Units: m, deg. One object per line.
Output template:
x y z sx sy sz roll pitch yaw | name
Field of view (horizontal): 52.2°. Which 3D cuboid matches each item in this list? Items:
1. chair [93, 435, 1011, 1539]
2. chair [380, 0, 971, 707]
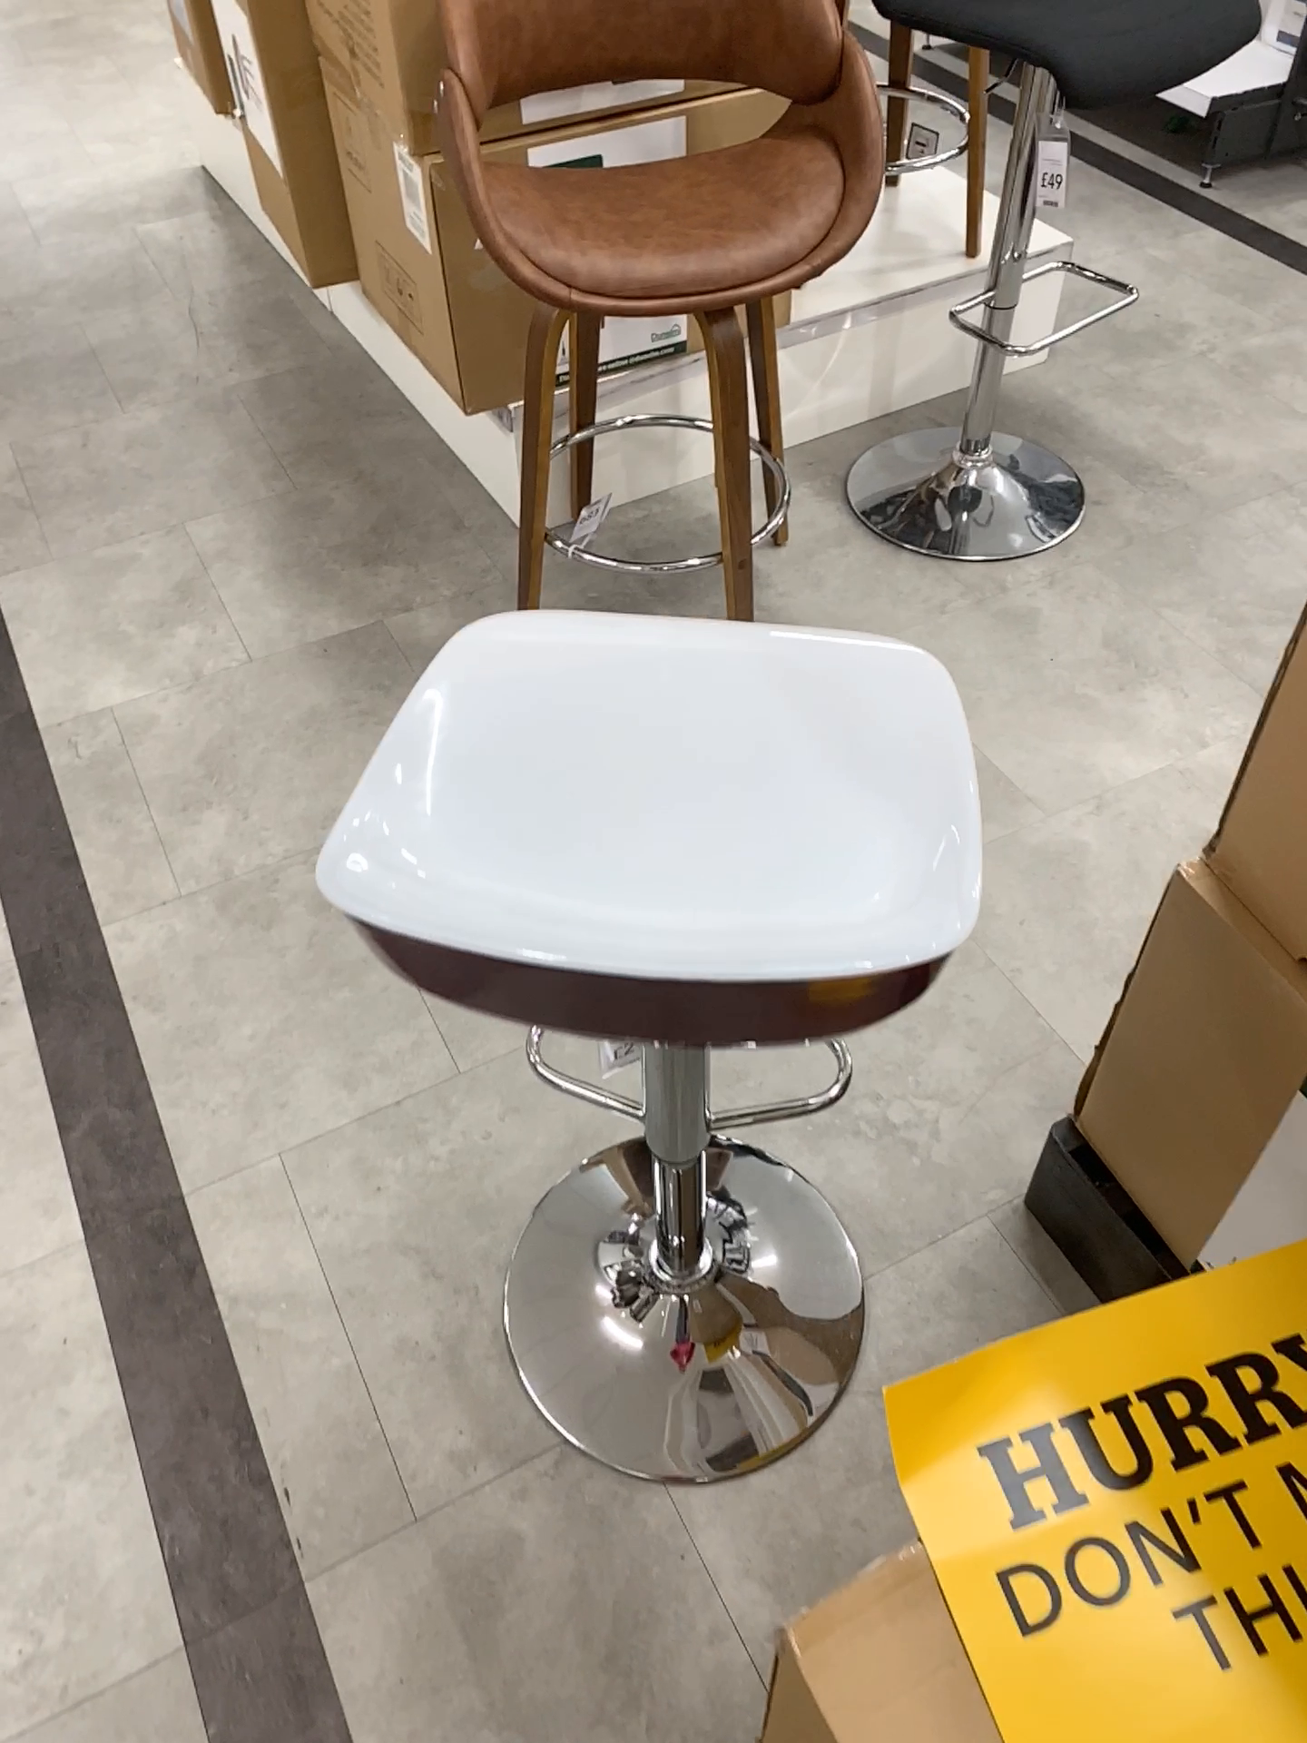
-0.014 0.141 1.077 0.443 0.798 0.456 5 48 7 | chair
0.009 -0.799 1.955 0.643 0.926 0.527 -6 48 -4 | chair
